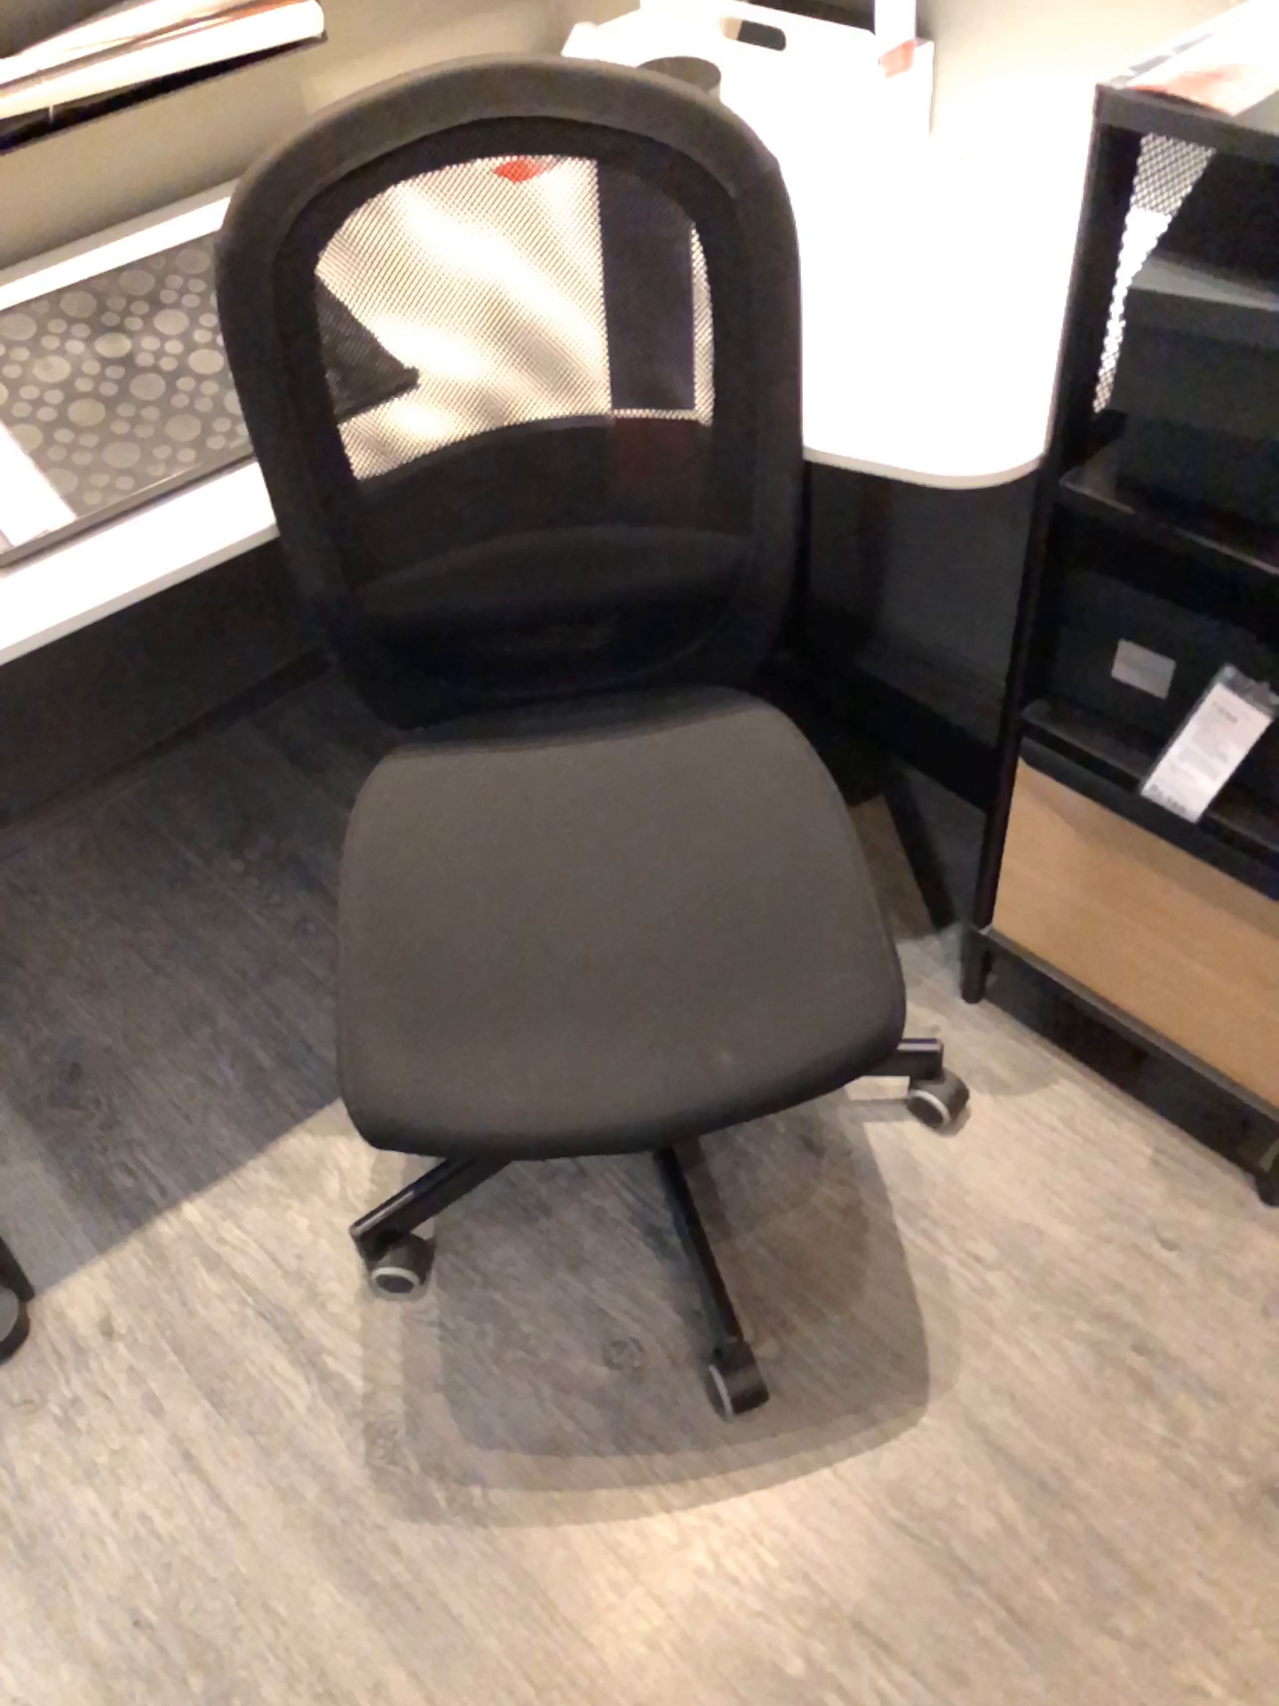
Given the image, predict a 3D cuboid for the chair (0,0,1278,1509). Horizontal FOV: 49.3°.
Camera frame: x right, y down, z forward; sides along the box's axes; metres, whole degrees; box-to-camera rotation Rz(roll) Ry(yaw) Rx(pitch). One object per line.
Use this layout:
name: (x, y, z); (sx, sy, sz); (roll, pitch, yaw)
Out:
chair: (-0.031, -0.066, 1.105); (0.630, 0.884, 0.714); (-11, 47, -4)
